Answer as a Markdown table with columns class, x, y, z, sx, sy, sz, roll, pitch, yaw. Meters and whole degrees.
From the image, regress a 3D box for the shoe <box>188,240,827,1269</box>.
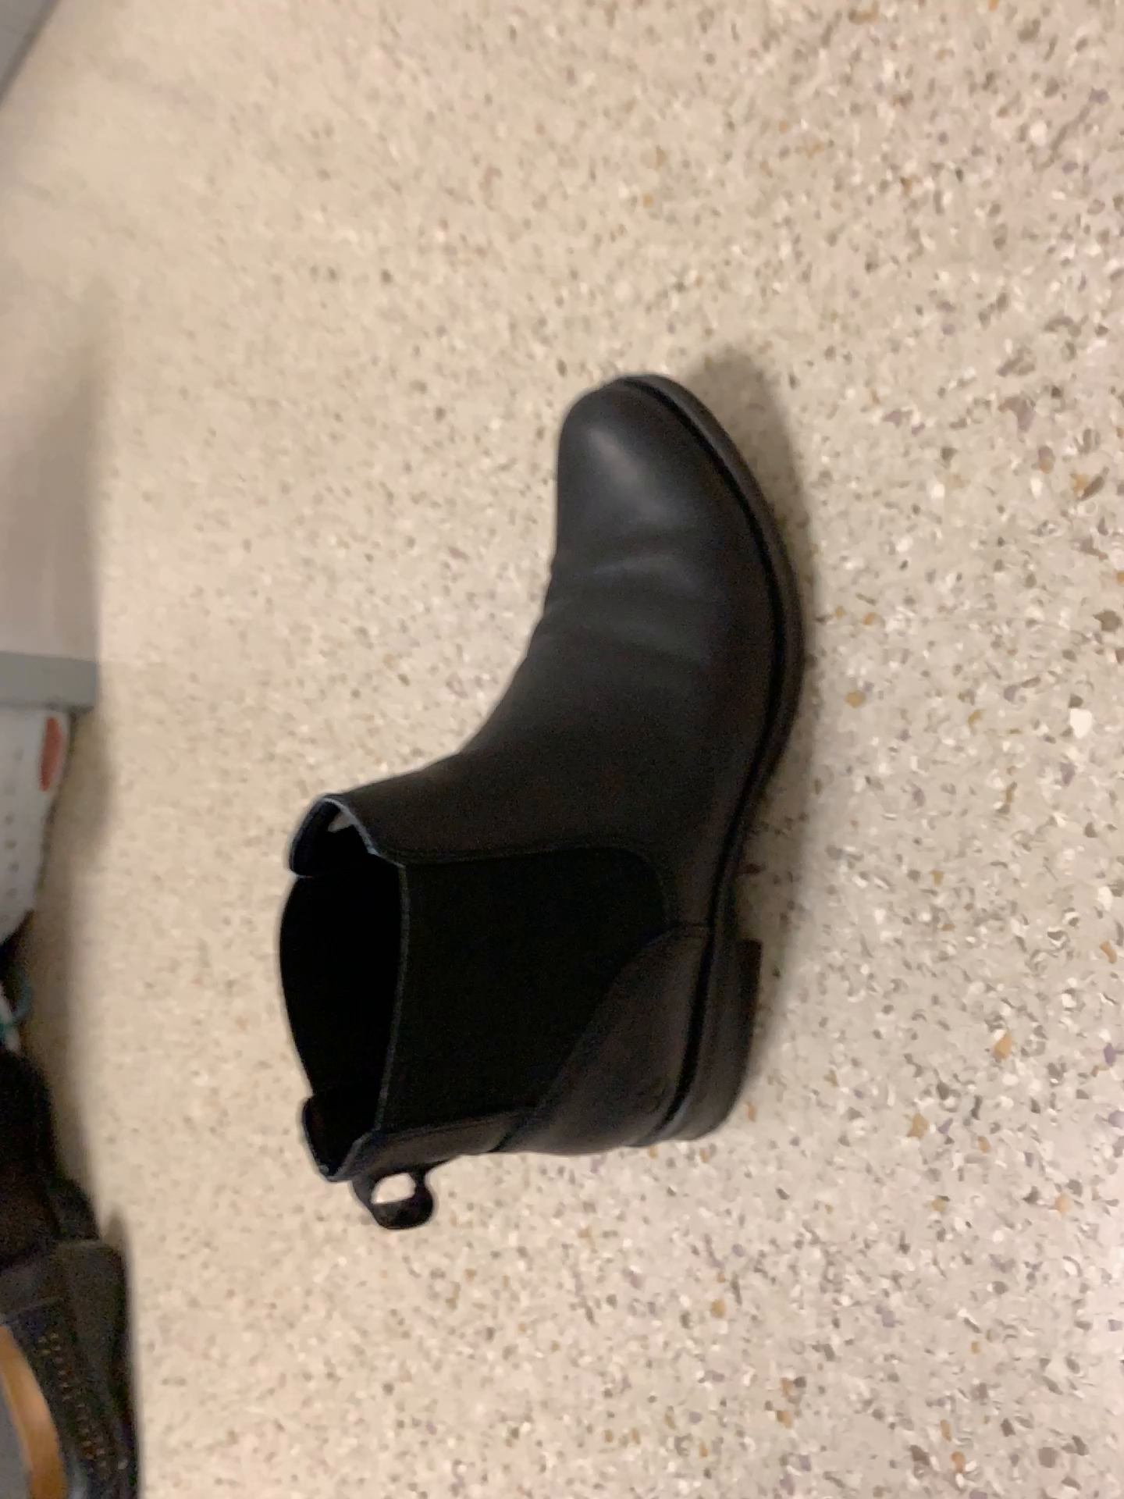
| class | x | y | z | sx | sy | sz | roll | pitch | yaw |
| --- | --- | --- | --- | --- | --- | --- | --- | --- | --- |
| shoe | -0.014 | 0.004 | 0.388 | 0.108 | 0.163 | 0.262 | 1 | 87 | 50 |
